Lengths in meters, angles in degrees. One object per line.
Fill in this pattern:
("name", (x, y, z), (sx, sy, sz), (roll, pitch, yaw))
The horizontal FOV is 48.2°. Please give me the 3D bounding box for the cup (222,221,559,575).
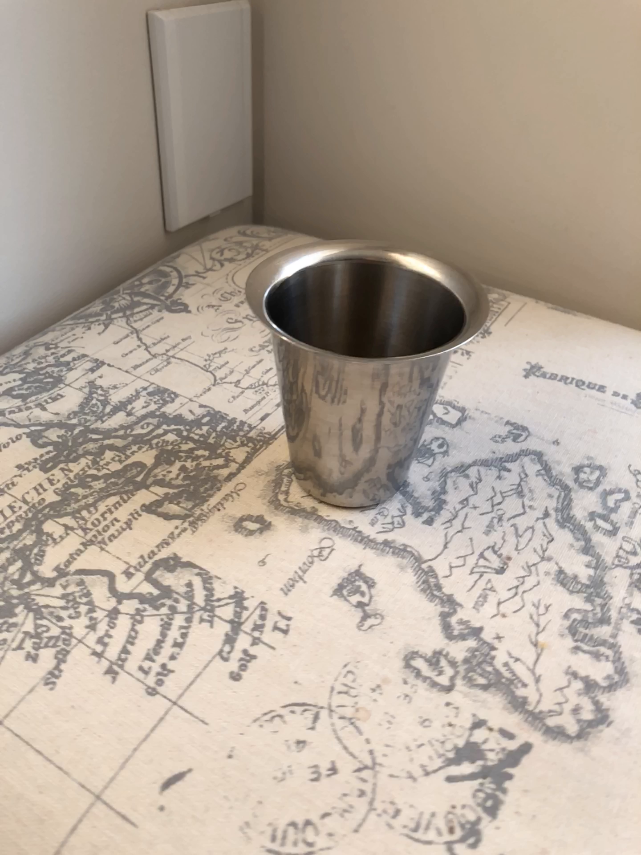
("cup", (0.016, -0.015, 0.256), (0.081, 0.081, 0.084), (2, 38, -2))
